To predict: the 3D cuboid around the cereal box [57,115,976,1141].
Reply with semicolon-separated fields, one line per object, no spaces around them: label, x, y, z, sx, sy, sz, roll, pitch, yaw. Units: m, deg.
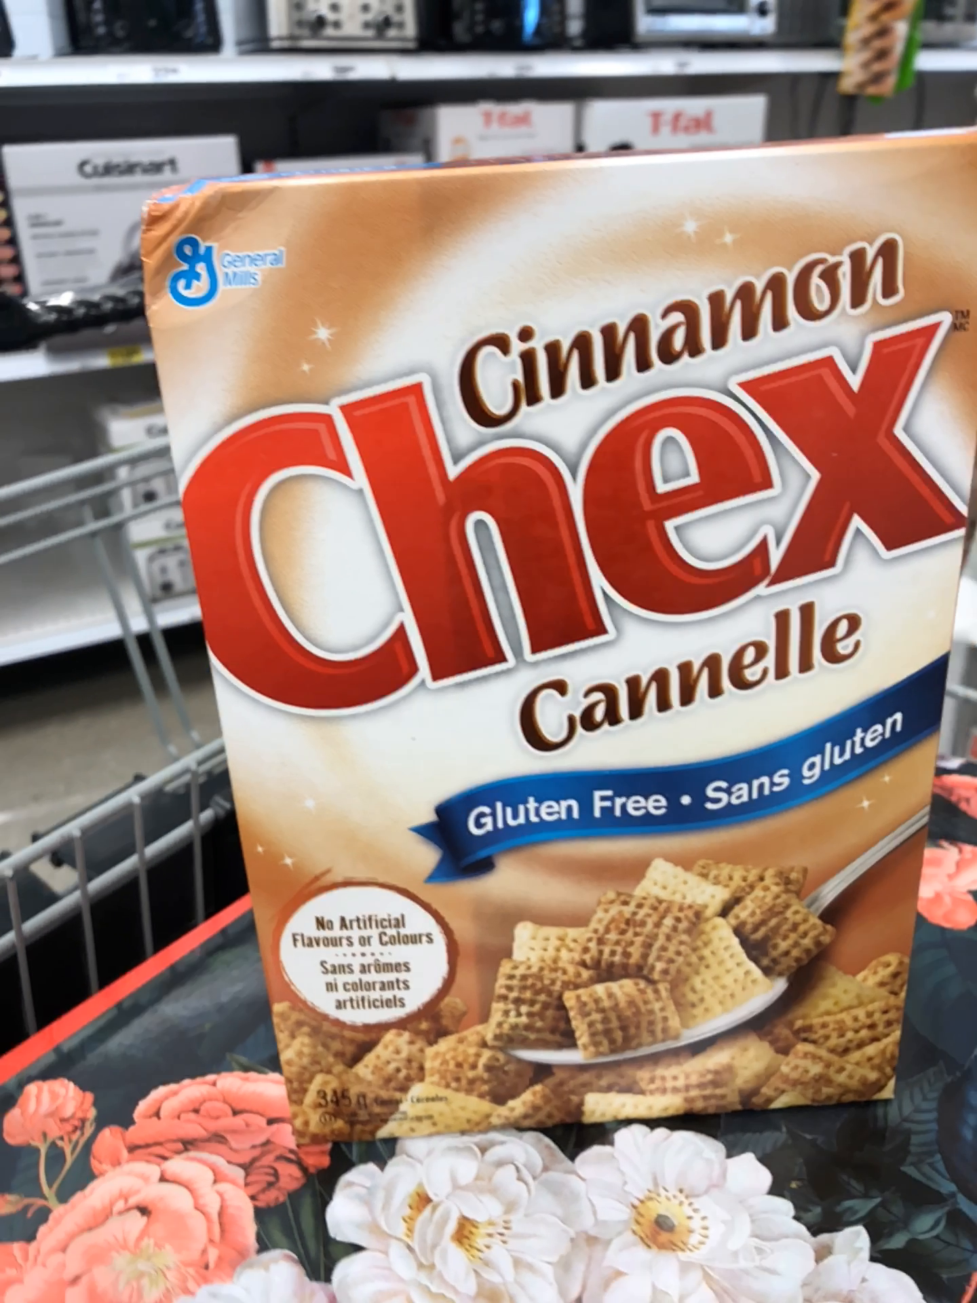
cereal box;0.014;0.001;0.300;0.200;0.259;0.060;-3;21;-5
